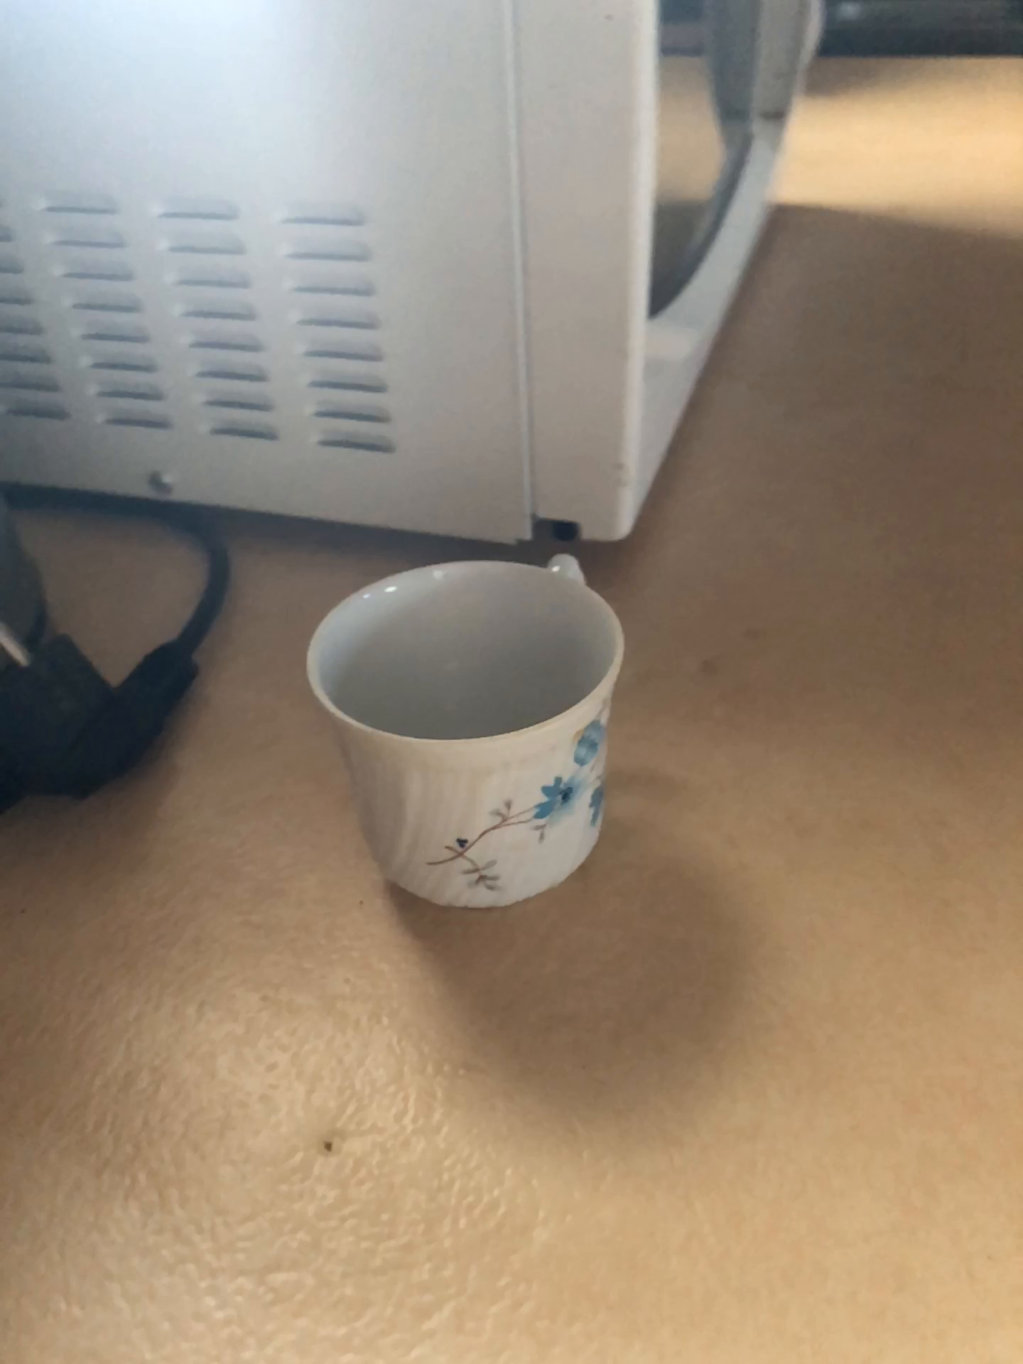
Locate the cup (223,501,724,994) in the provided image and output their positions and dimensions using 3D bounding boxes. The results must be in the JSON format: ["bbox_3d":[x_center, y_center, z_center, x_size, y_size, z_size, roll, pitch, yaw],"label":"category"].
[{"bbox_3d":[-0.003,0.008,0.256,0.070,0.050,0.091,16,41,25],"label":"cup"}]
